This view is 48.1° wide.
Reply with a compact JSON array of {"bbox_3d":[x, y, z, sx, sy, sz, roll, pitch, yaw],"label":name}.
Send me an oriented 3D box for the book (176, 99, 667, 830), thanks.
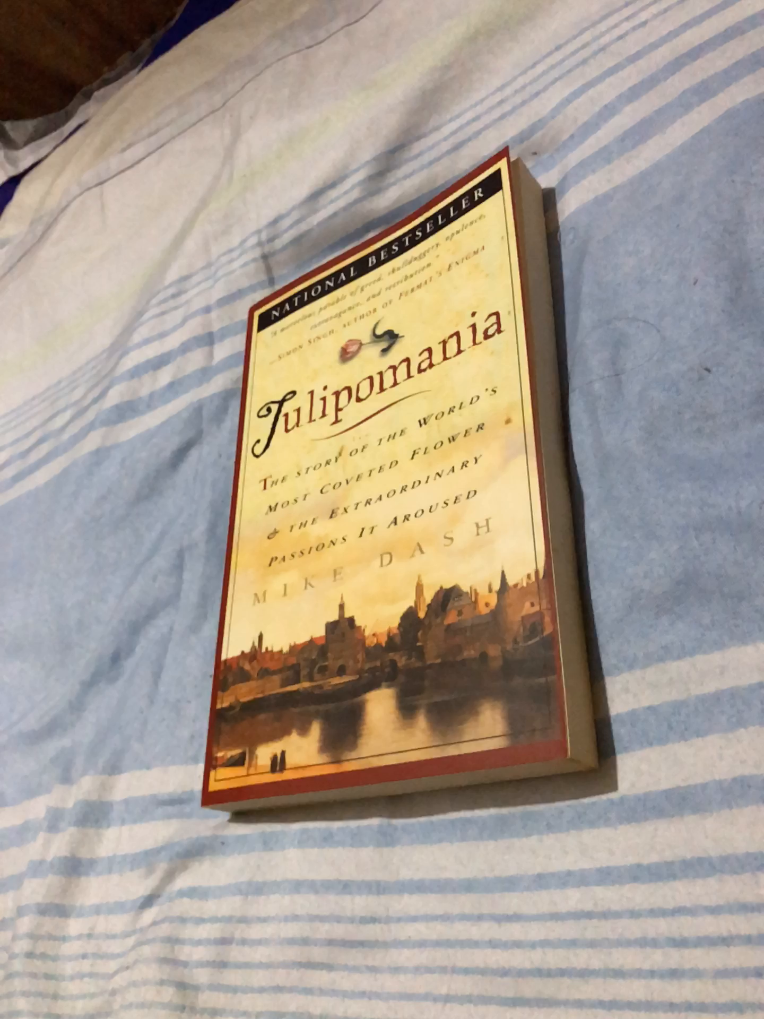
[{"bbox_3d":[0.008,-0.016,0.305,0.141,0.050,0.230,-20,55,33],"label":"book"}]
